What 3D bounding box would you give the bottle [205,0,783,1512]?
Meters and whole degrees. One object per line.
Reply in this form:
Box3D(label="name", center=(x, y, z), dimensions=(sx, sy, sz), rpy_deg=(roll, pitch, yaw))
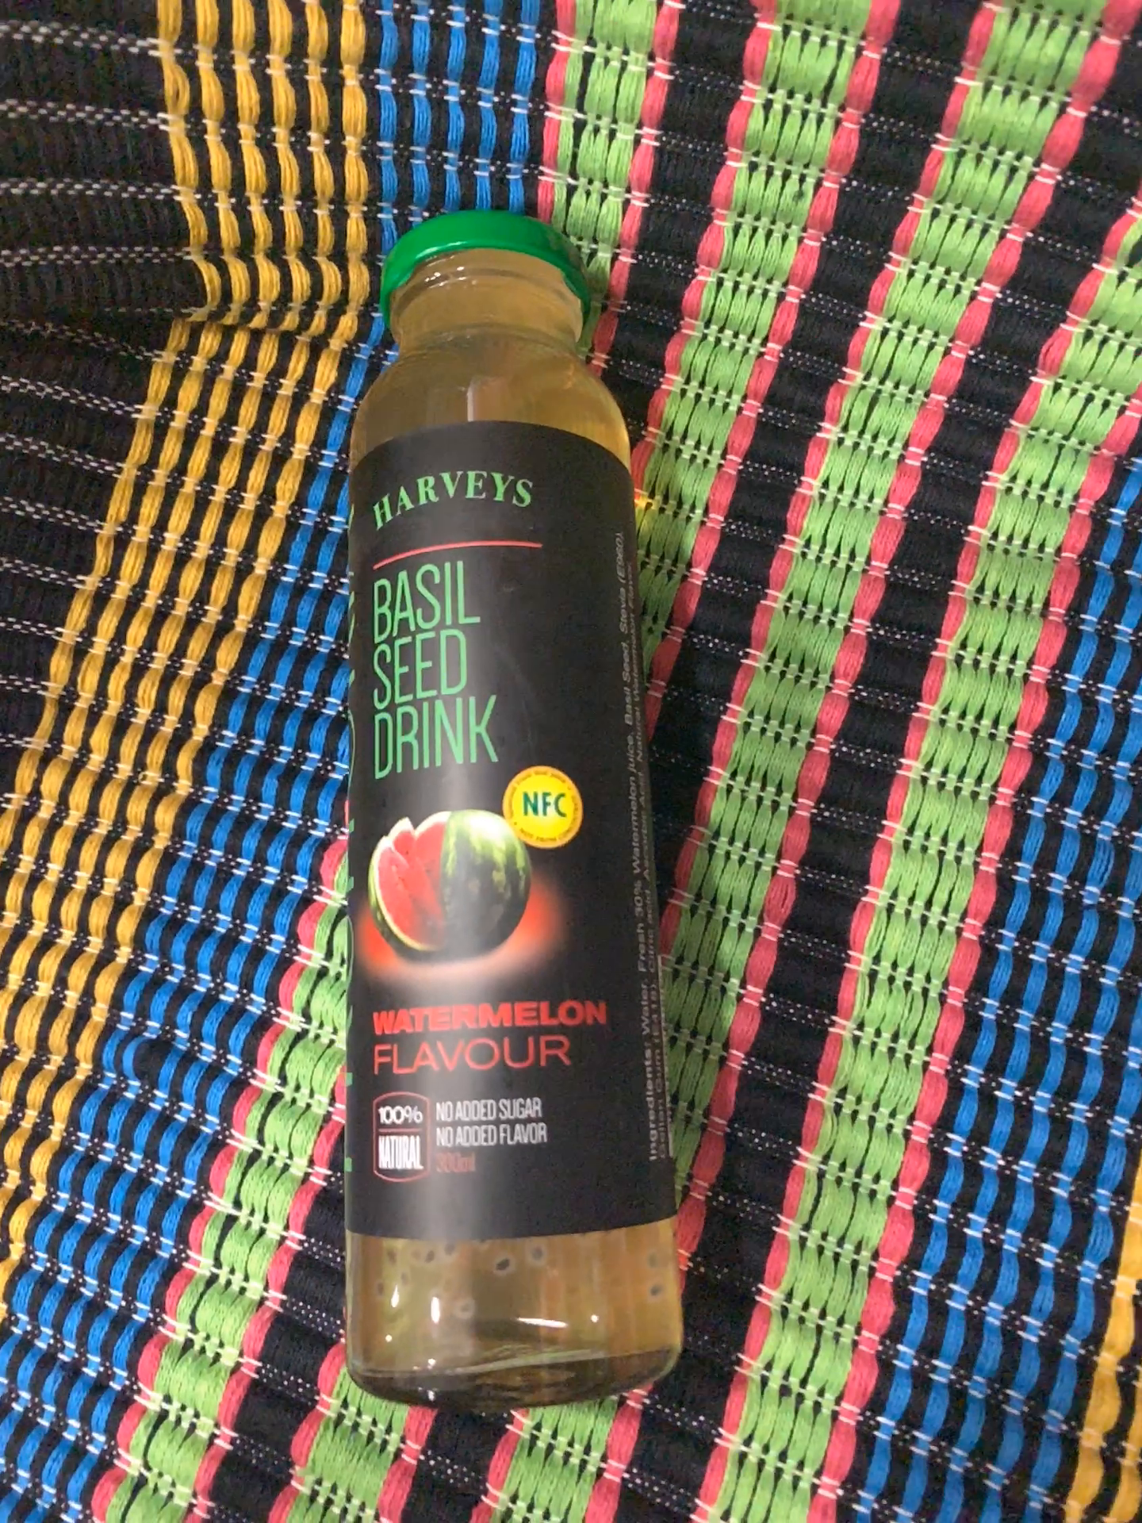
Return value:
Box3D(label="bottle", center=(-0.012, -0.006, 0.189), dimensions=(0.060, 0.060, 0.200), rpy_deg=(-9, 76, 23))
